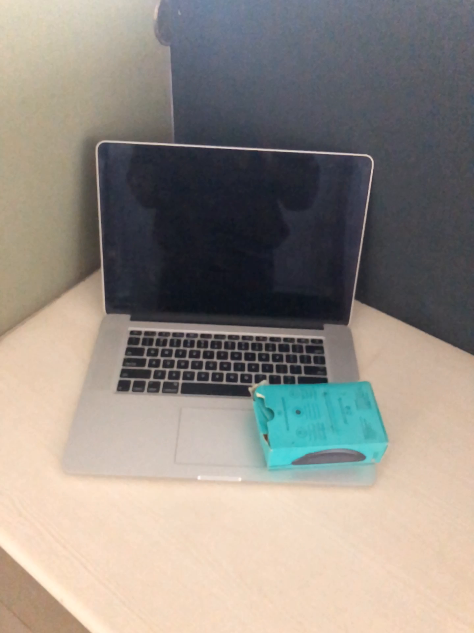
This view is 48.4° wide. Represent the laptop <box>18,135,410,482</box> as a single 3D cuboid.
[{"bbox_3d":[-0.018,-0.025,0.626,0.328,0.200,0.340,3,47,0],"label":"laptop"}]
